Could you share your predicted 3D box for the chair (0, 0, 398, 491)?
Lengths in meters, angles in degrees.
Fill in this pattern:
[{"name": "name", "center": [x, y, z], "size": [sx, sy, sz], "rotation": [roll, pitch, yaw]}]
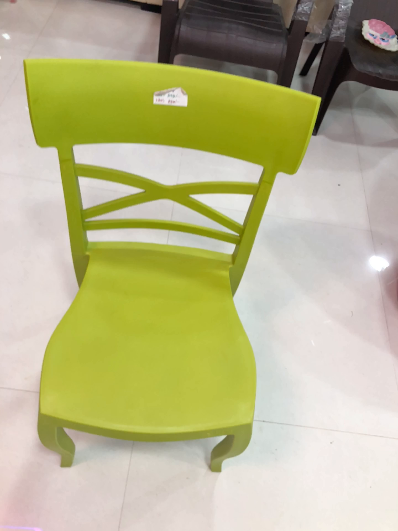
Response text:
[{"name": "chair", "center": [-0.081, 0.058, 0.912], "size": [0.500, 0.806, 0.613], "rotation": [6, 55, -5]}]
